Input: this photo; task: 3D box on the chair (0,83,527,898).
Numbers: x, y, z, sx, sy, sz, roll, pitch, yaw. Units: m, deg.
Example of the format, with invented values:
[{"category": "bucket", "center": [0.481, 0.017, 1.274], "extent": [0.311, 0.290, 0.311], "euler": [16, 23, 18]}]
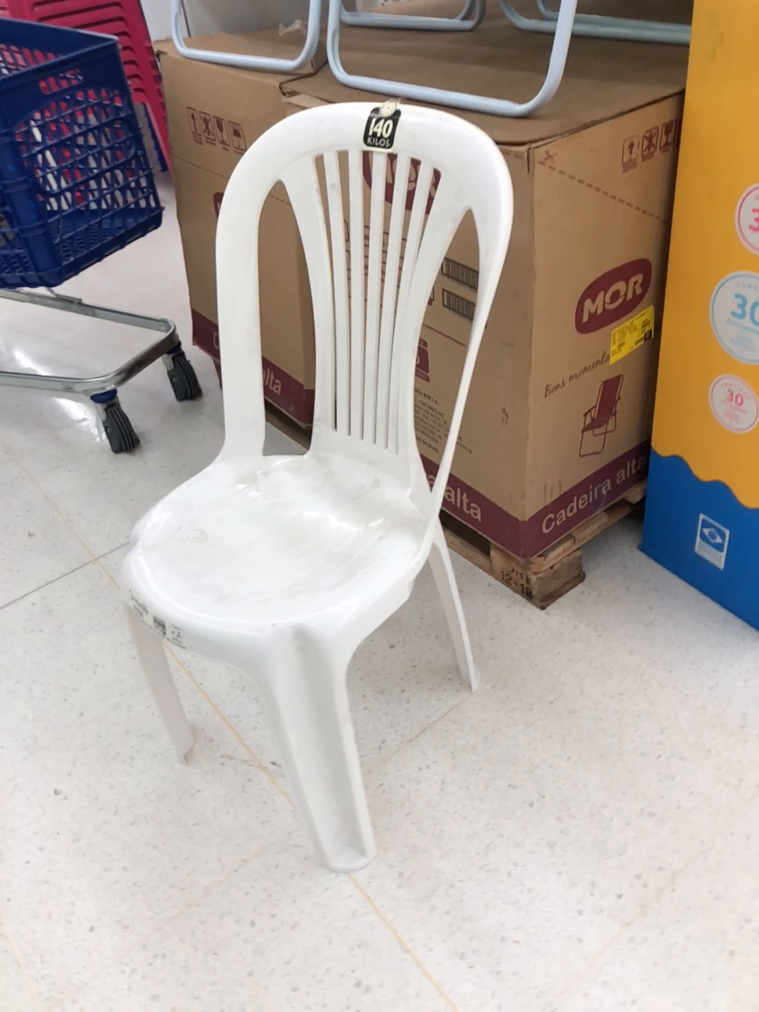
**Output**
[{"category": "chair", "center": [-0.124, -0.023, 1.060], "extent": [0.441, 0.834, 0.462], "euler": [20, 45, 32]}]
